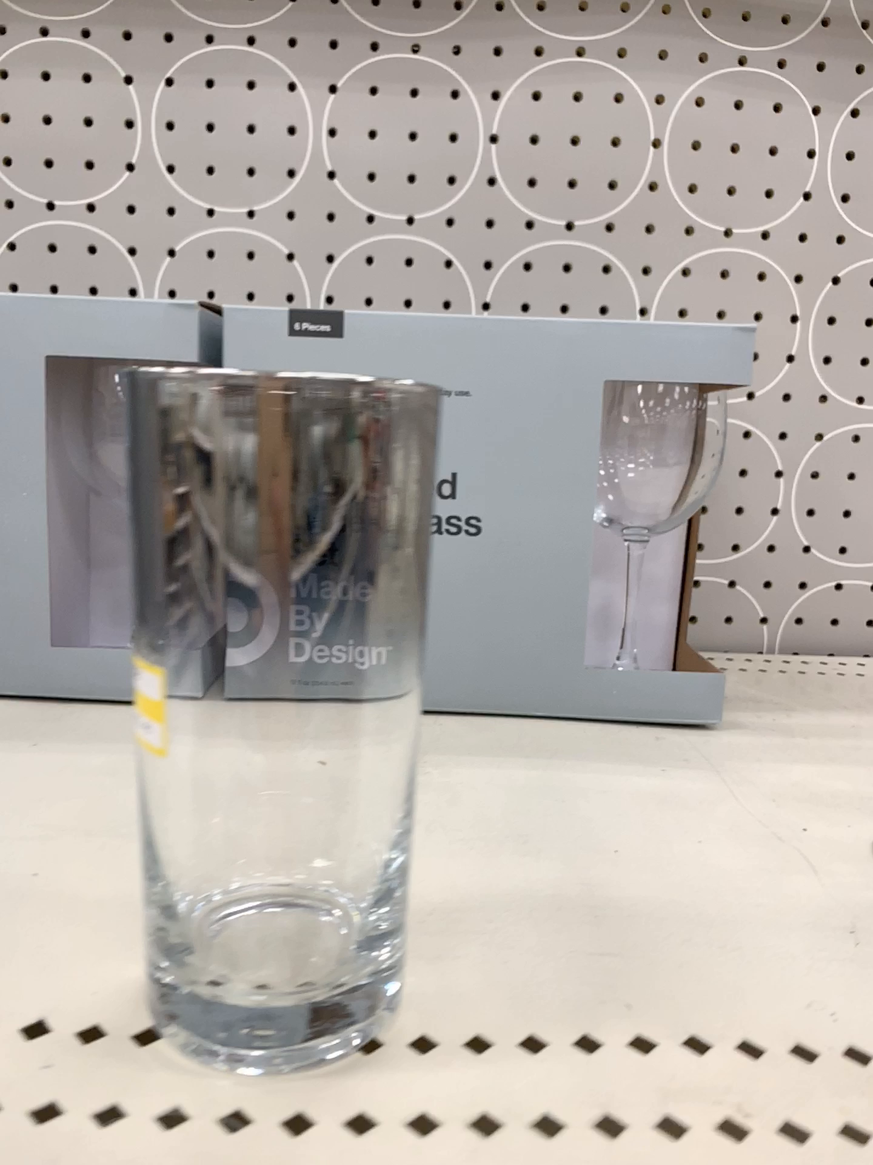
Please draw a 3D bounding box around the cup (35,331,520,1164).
[{"bbox_3d":[-0.040,0.027,0.199,0.080,0.150,0.080,2,10,0],"label":"cup"}]
